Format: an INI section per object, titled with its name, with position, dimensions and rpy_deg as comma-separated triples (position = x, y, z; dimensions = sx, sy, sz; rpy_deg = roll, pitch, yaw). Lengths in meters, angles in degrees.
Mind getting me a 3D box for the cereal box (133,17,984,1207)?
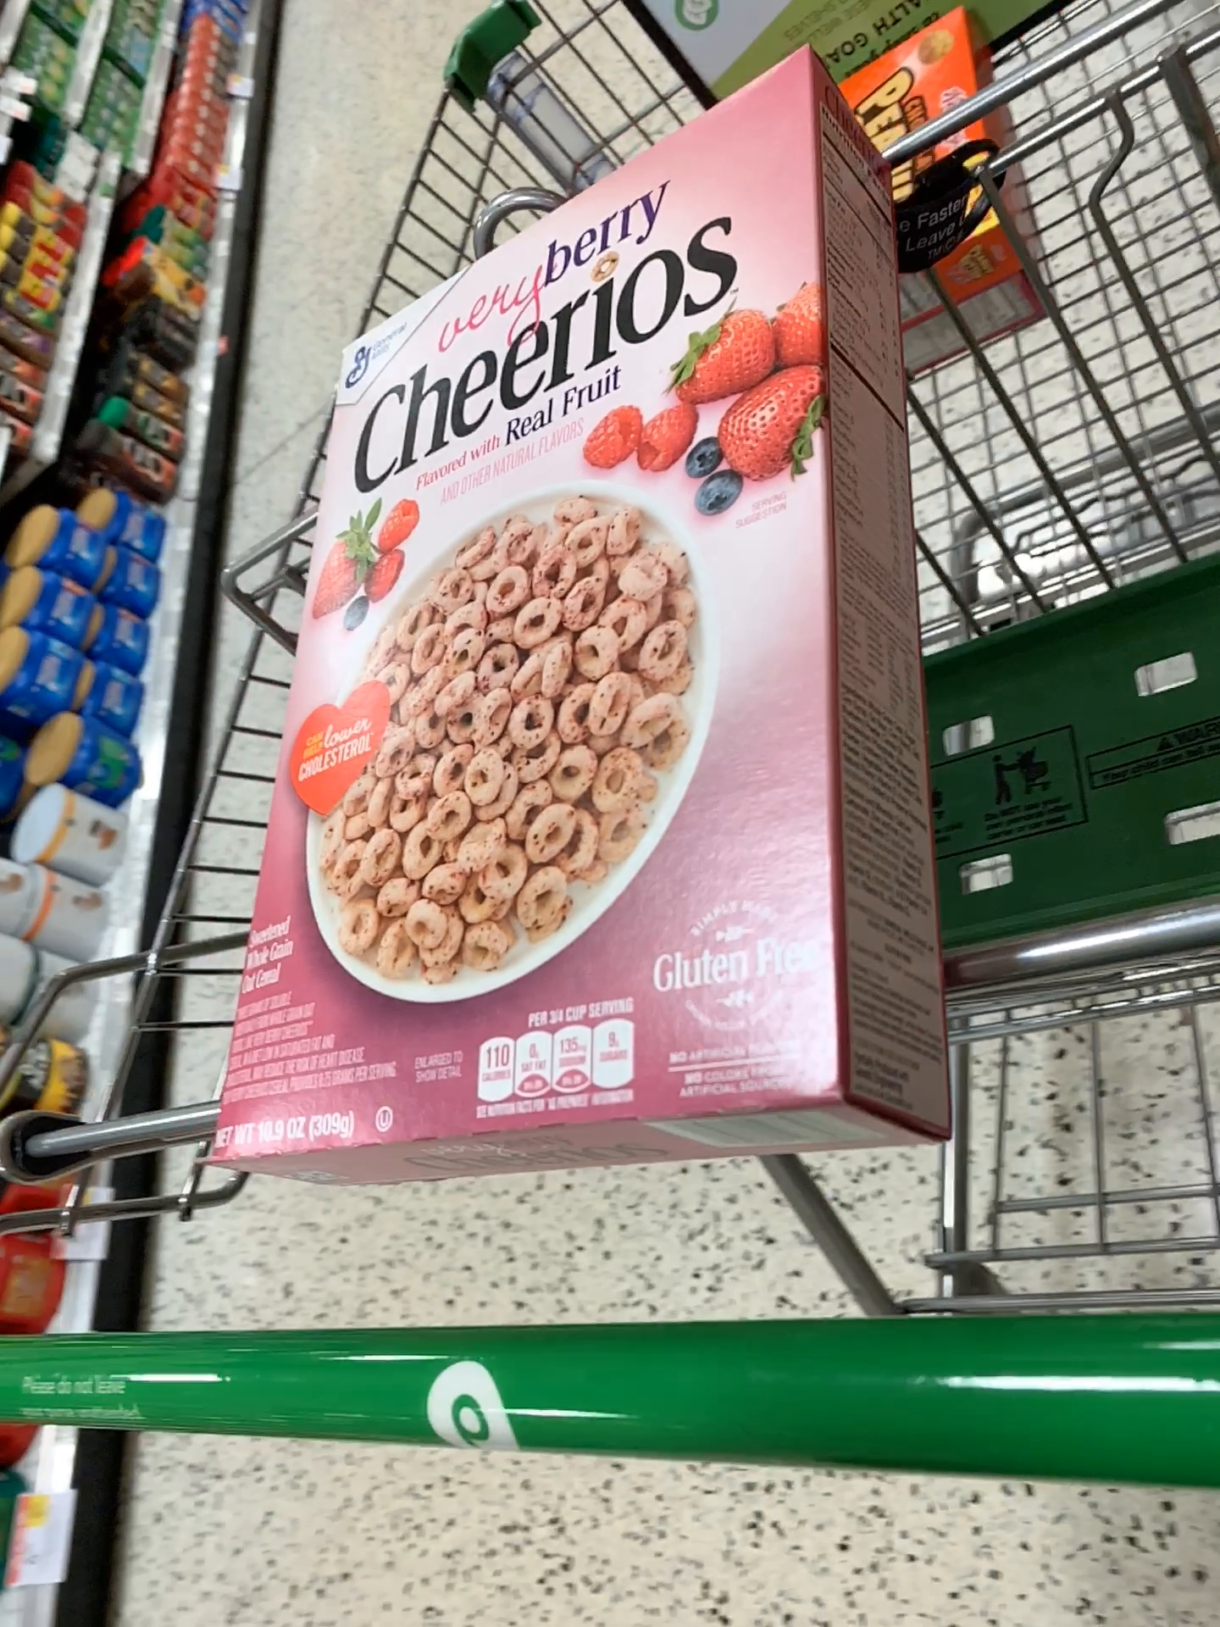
[cereal box]
position = -0.020, -0.044, 0.349
dimensions = 0.211, 0.059, 0.281
rpy_deg = -16, 60, 36
